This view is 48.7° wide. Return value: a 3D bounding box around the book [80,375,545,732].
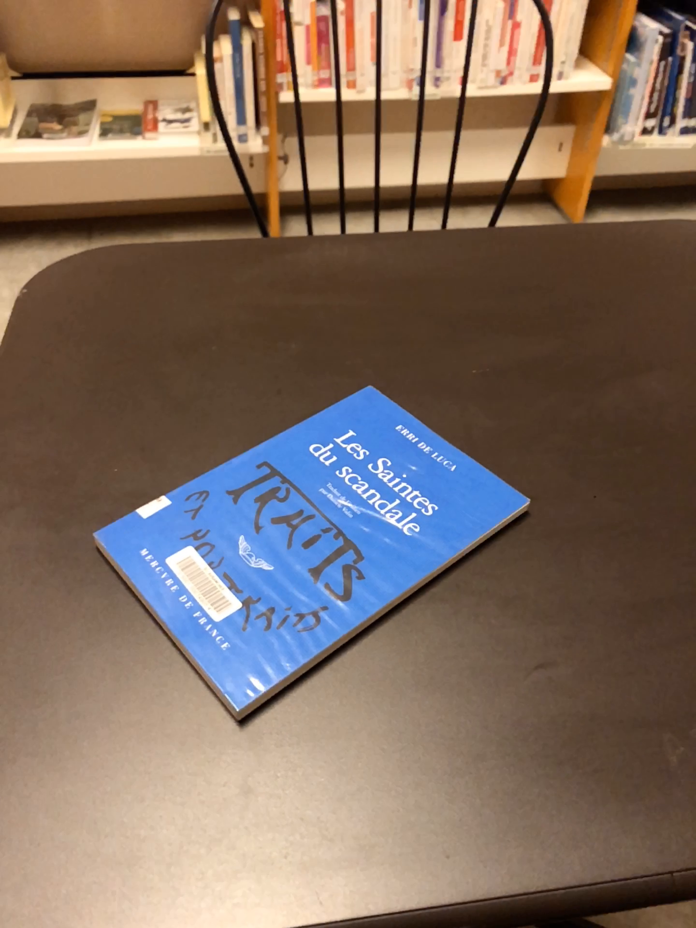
[{"bbox_3d":[-0.015,0.030,0.431,0.216,0.017,0.144,-29,51,-30],"label":"book"}]
